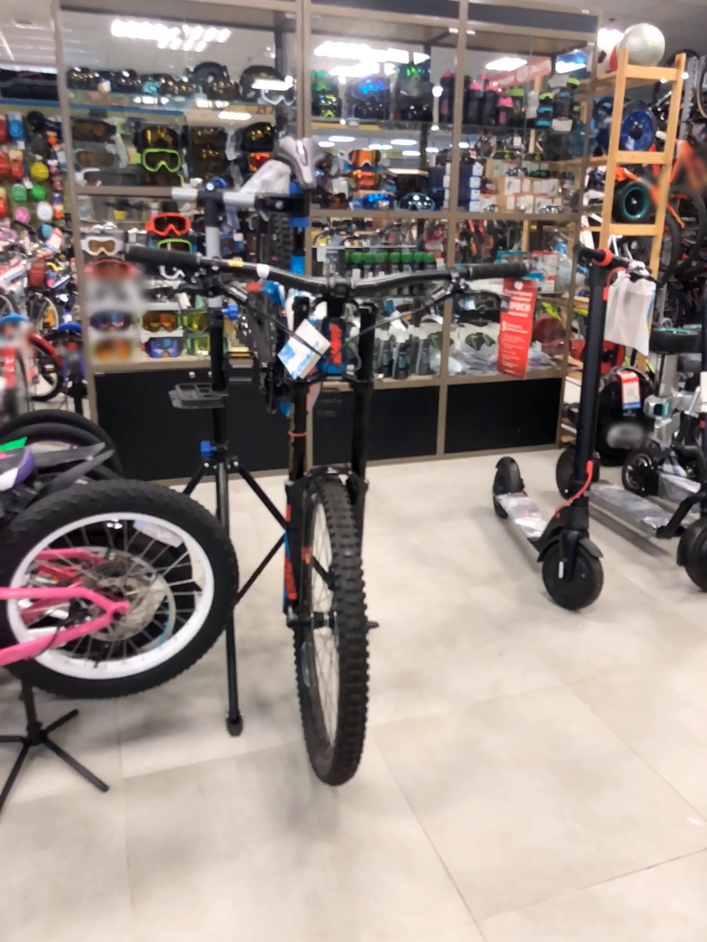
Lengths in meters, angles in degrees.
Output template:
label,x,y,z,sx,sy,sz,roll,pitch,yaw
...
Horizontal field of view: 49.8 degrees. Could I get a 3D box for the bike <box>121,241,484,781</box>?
label,x,y,z,sx,sy,sz,roll,pitch,yaw
bike,-0.175,-0.101,1.934,0.659,0.181,1.532,-1,44,-11
